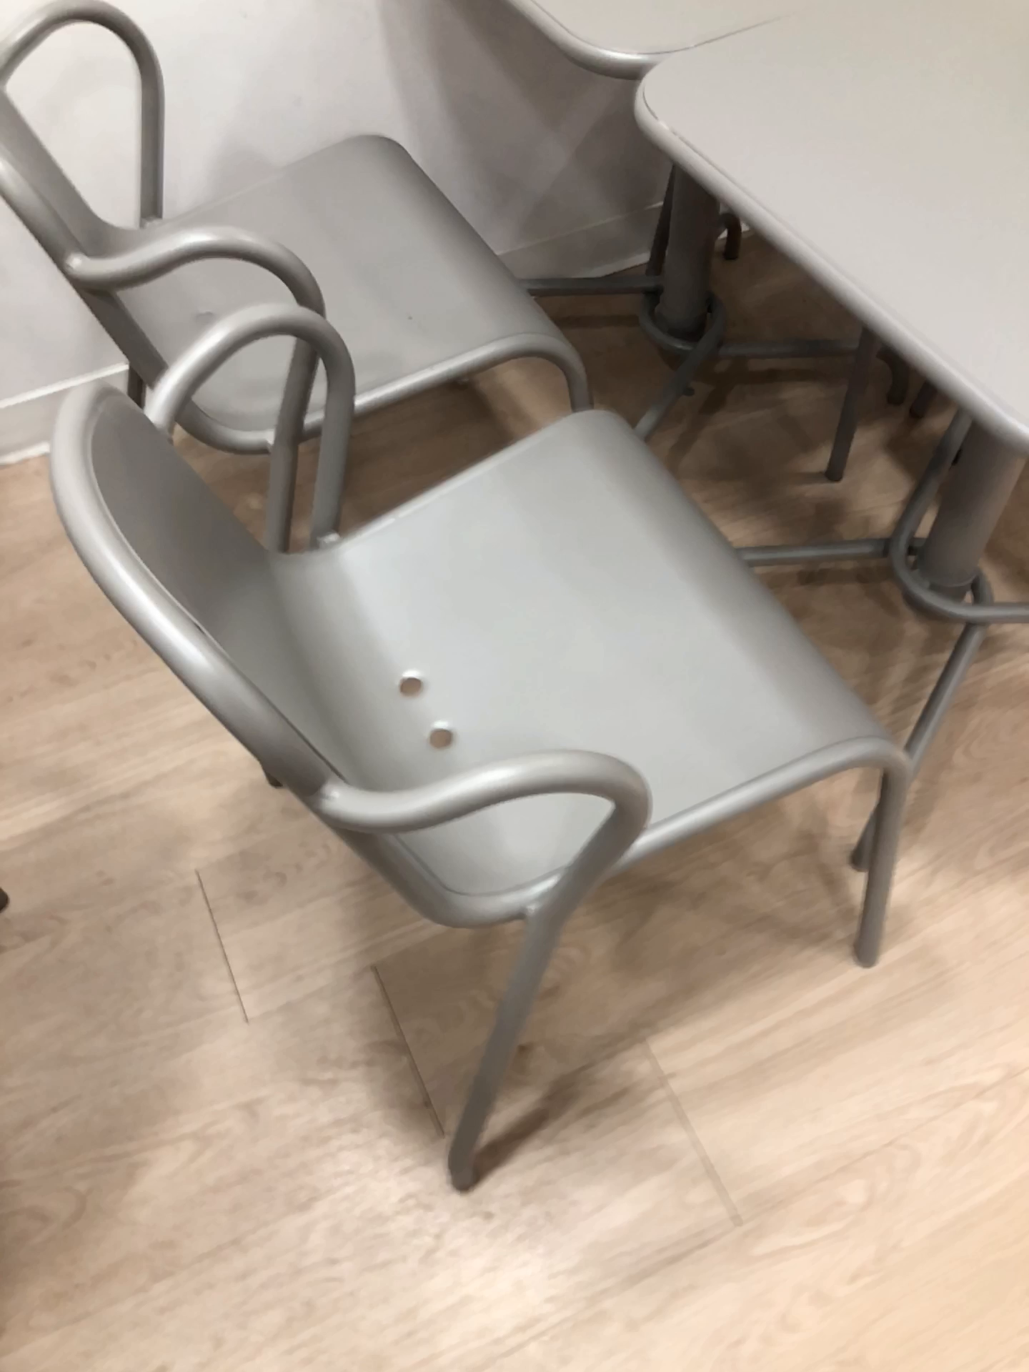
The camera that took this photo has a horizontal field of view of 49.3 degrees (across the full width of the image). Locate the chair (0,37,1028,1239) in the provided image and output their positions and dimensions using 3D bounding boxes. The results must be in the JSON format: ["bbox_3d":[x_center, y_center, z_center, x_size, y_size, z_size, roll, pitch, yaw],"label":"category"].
[{"bbox_3d":[0.055,0.012,0.927,0.611,0.707,0.482,-23,58,-13],"label":"chair"}]
